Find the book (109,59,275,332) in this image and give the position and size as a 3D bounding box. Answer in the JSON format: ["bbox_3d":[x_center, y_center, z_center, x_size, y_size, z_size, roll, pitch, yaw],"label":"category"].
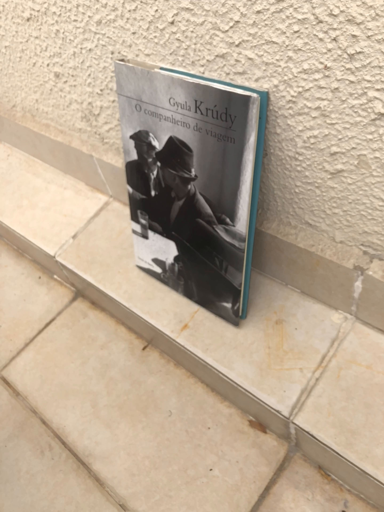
[{"bbox_3d":[-0.006,-0.044,0.364,0.137,0.204,0.019,28,46,31],"label":"book"}]
